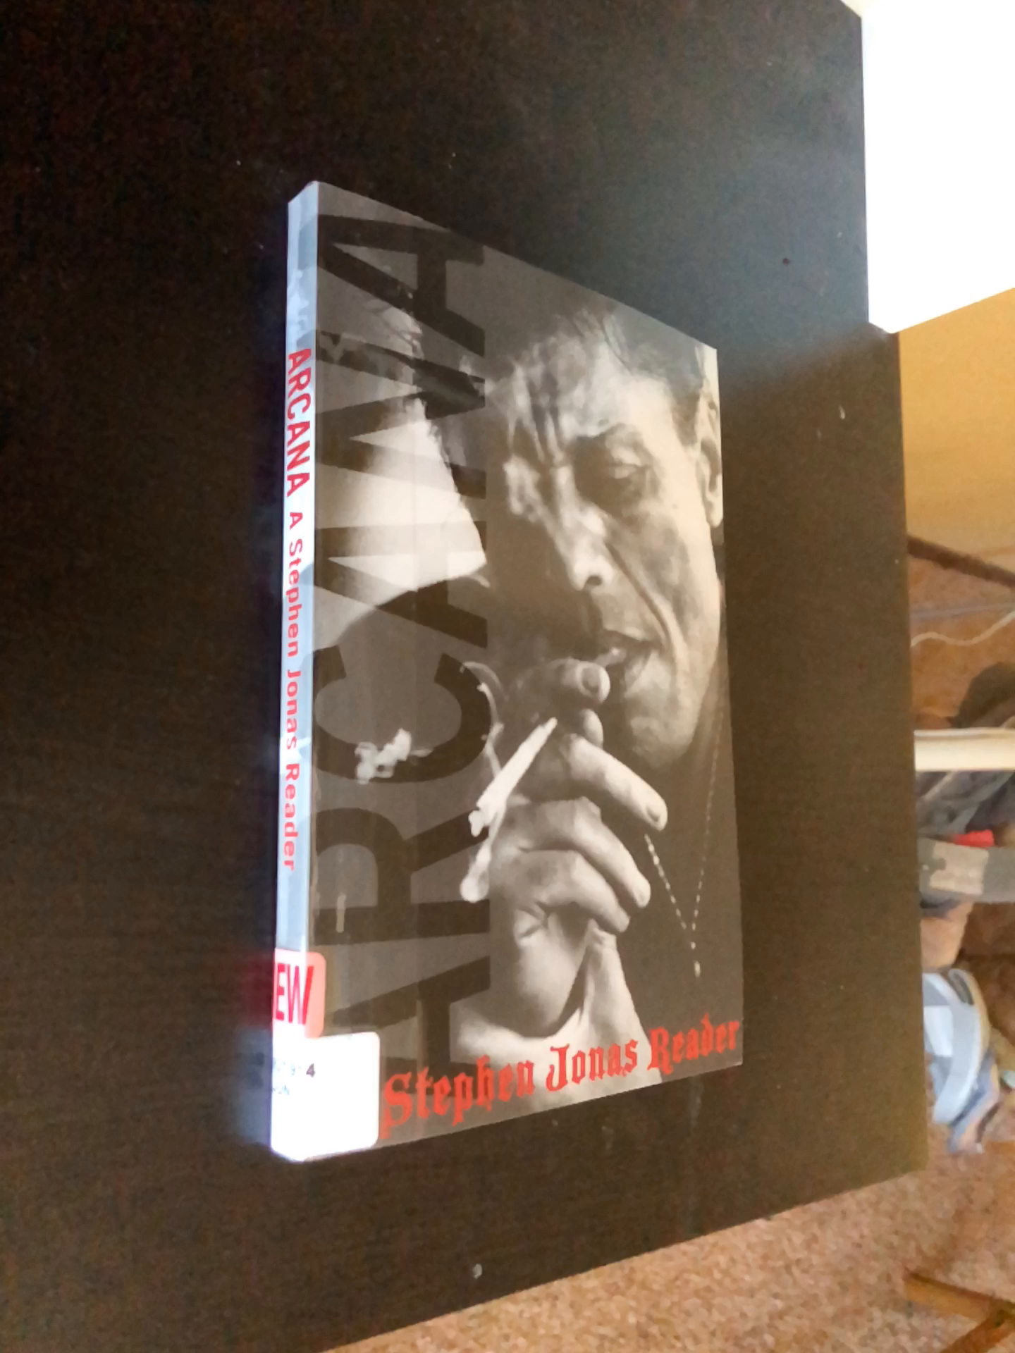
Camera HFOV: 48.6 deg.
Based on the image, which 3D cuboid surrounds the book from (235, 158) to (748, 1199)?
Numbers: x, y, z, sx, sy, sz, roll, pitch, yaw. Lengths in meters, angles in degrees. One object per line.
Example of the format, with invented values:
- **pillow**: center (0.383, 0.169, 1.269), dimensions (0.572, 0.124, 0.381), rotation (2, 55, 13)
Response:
- **book**: center (0.006, 0.001, 0.347), dimensions (0.180, 0.024, 0.260), rotation (5, 82, -41)
